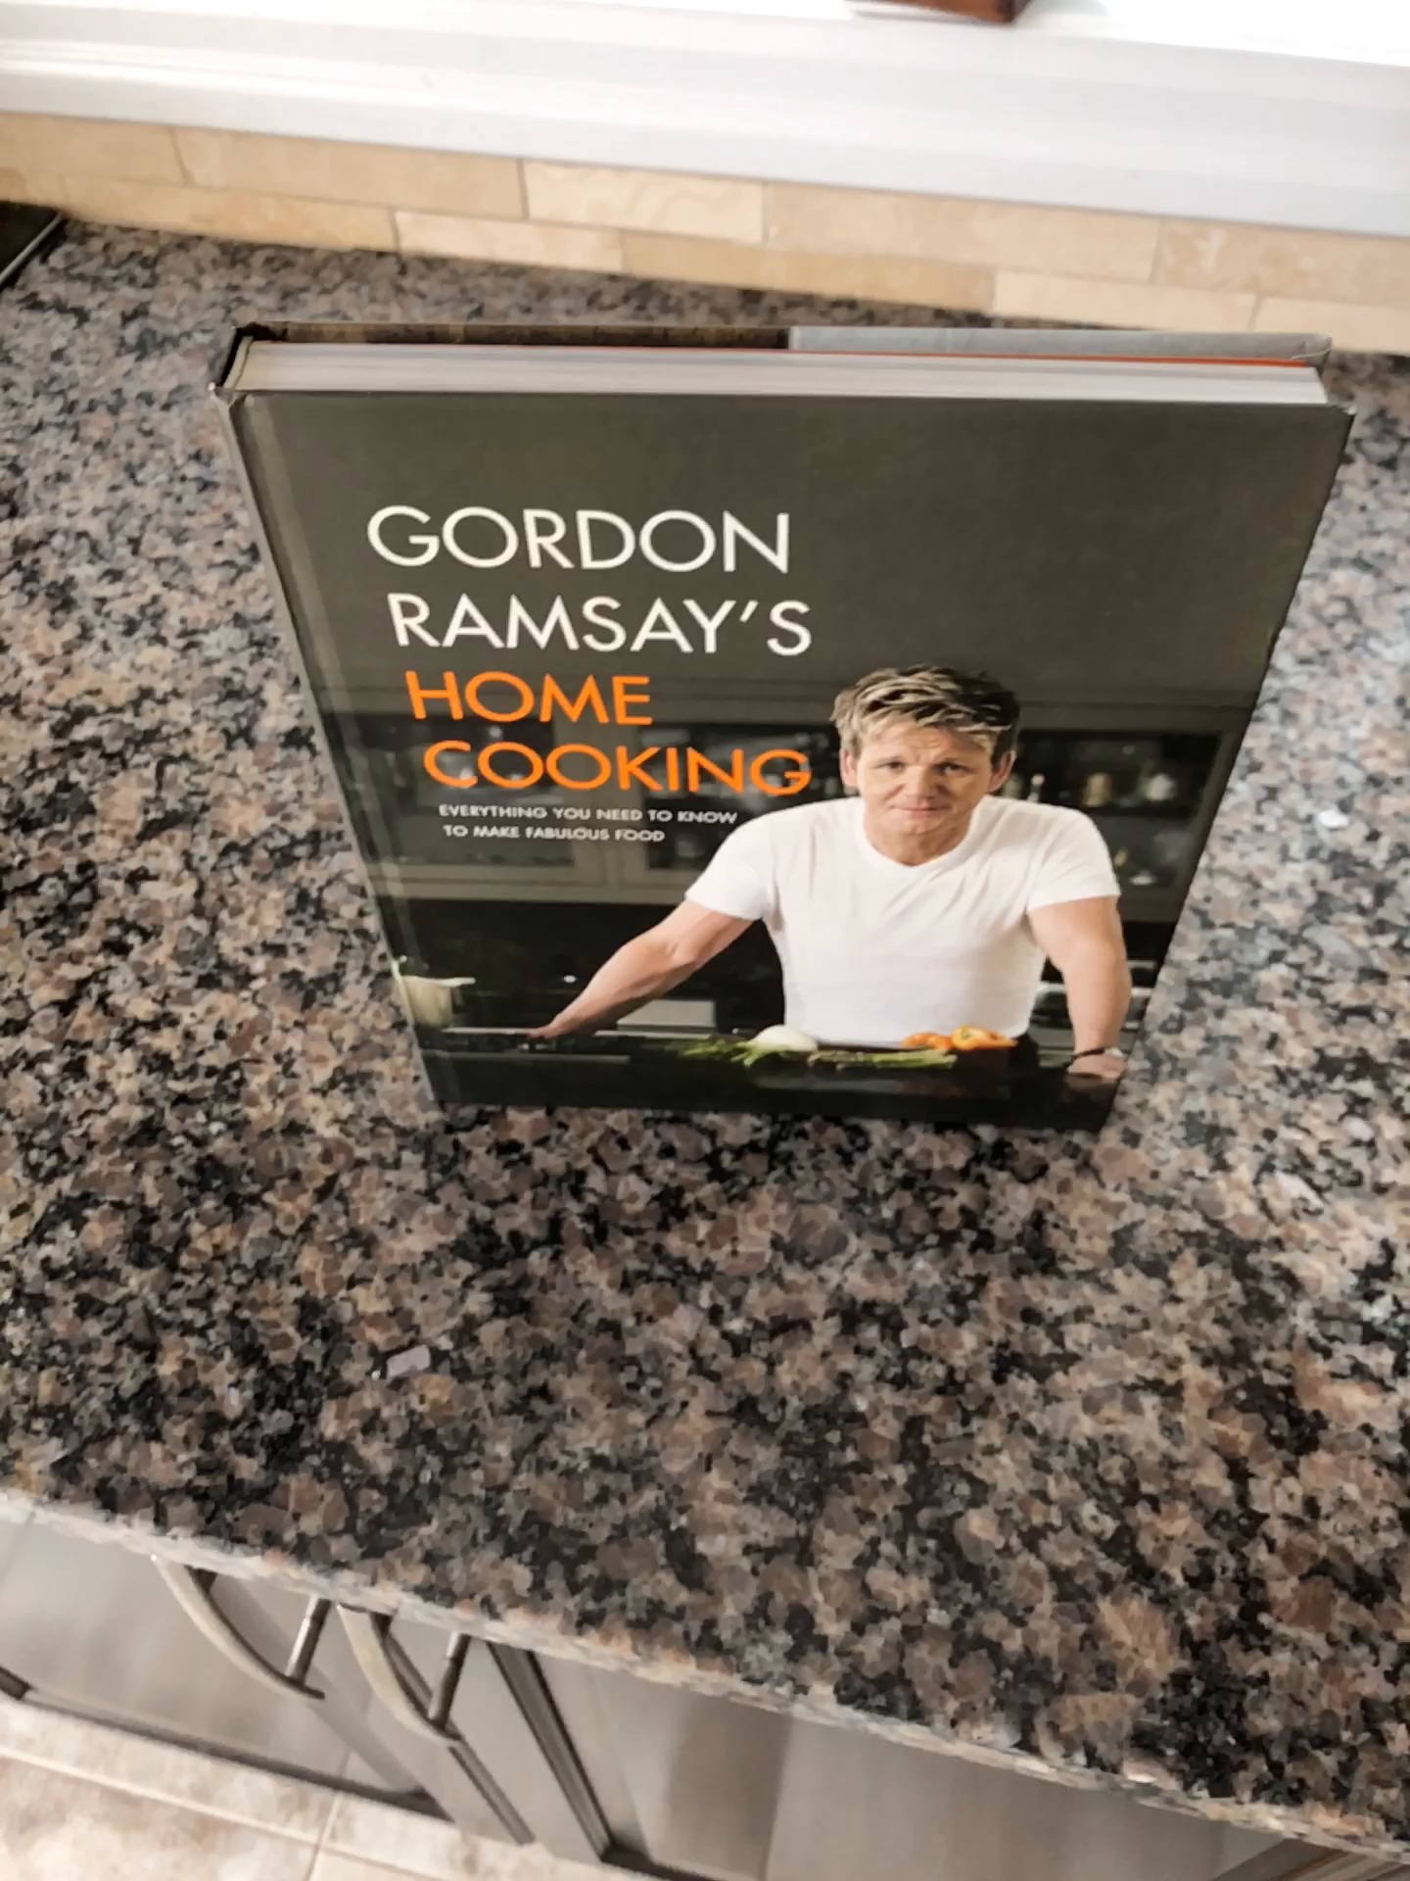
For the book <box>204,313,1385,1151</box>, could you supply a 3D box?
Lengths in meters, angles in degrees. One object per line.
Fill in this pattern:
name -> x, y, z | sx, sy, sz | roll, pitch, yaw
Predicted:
book -> 0.018, -0.030, 0.401 | 0.217, 0.261, 0.028 | 2, 52, 3
